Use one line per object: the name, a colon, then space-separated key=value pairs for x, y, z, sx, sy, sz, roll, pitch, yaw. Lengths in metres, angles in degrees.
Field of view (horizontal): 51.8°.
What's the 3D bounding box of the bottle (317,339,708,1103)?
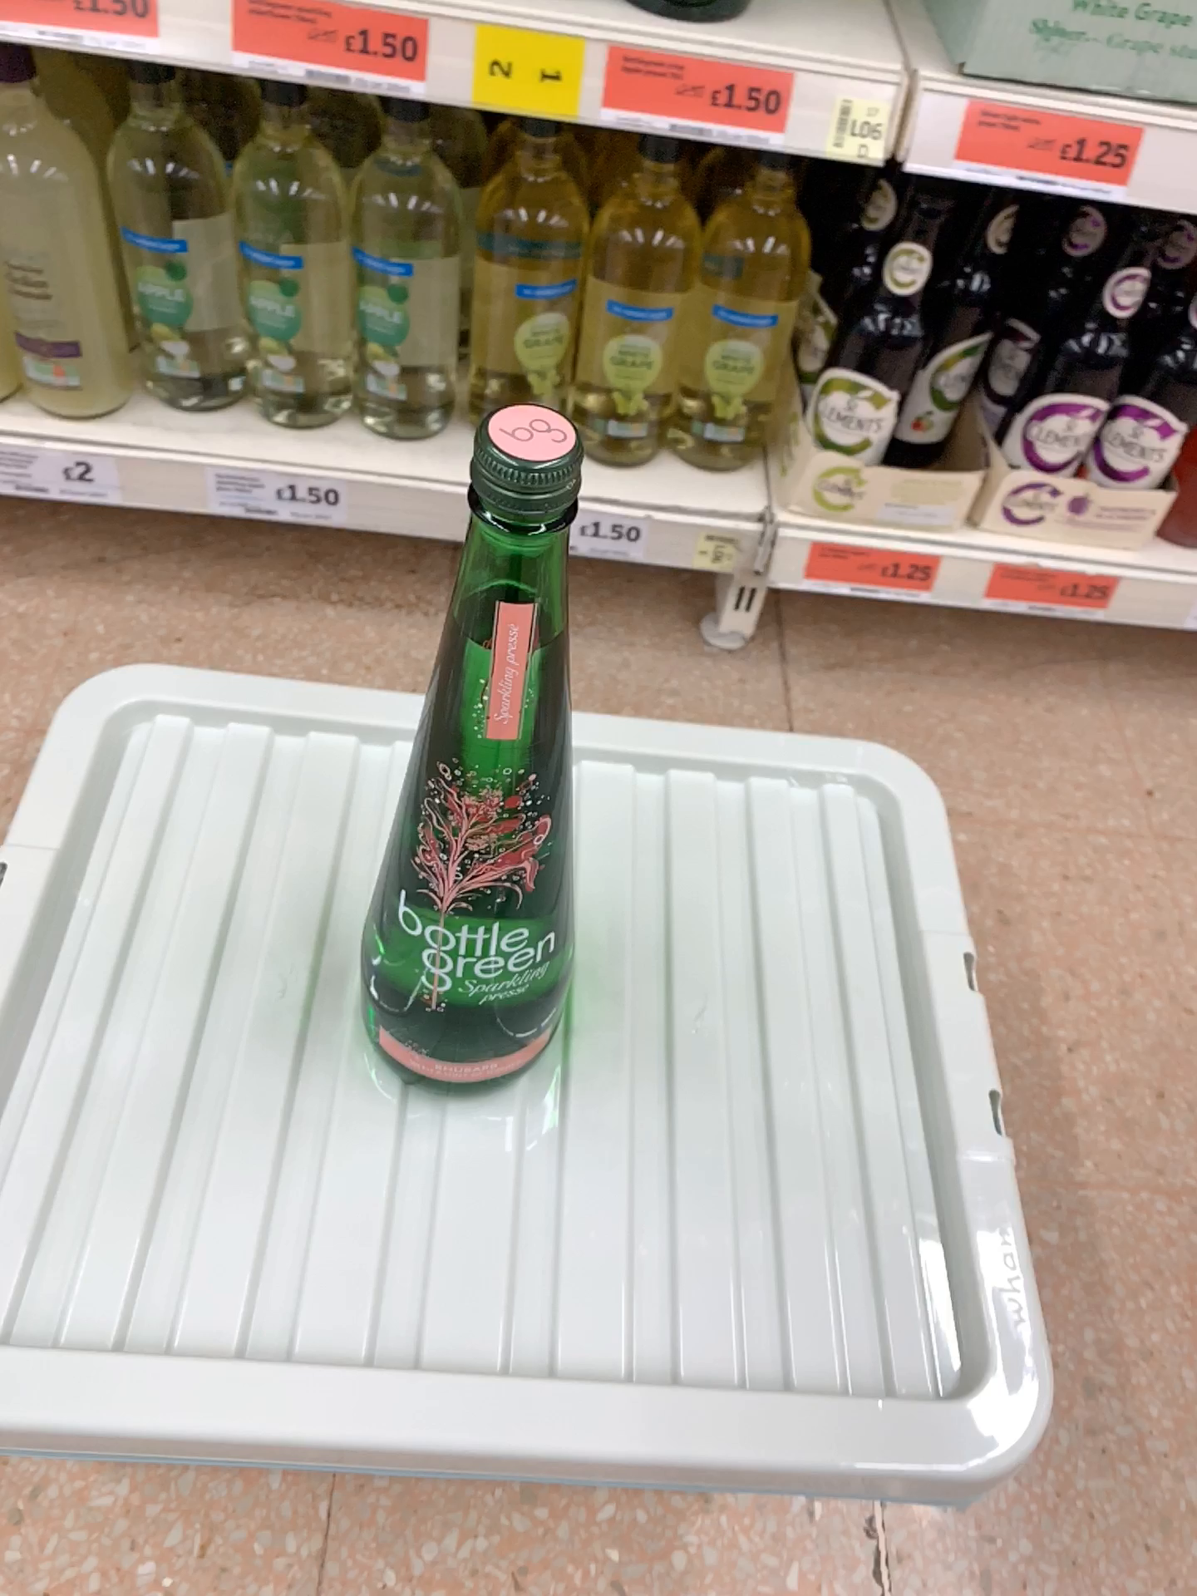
bottle: x=-0.037 y=0.001 z=0.422 sx=0.090 sy=0.287 sz=0.085 roll=5 pitch=52 yaw=-6
